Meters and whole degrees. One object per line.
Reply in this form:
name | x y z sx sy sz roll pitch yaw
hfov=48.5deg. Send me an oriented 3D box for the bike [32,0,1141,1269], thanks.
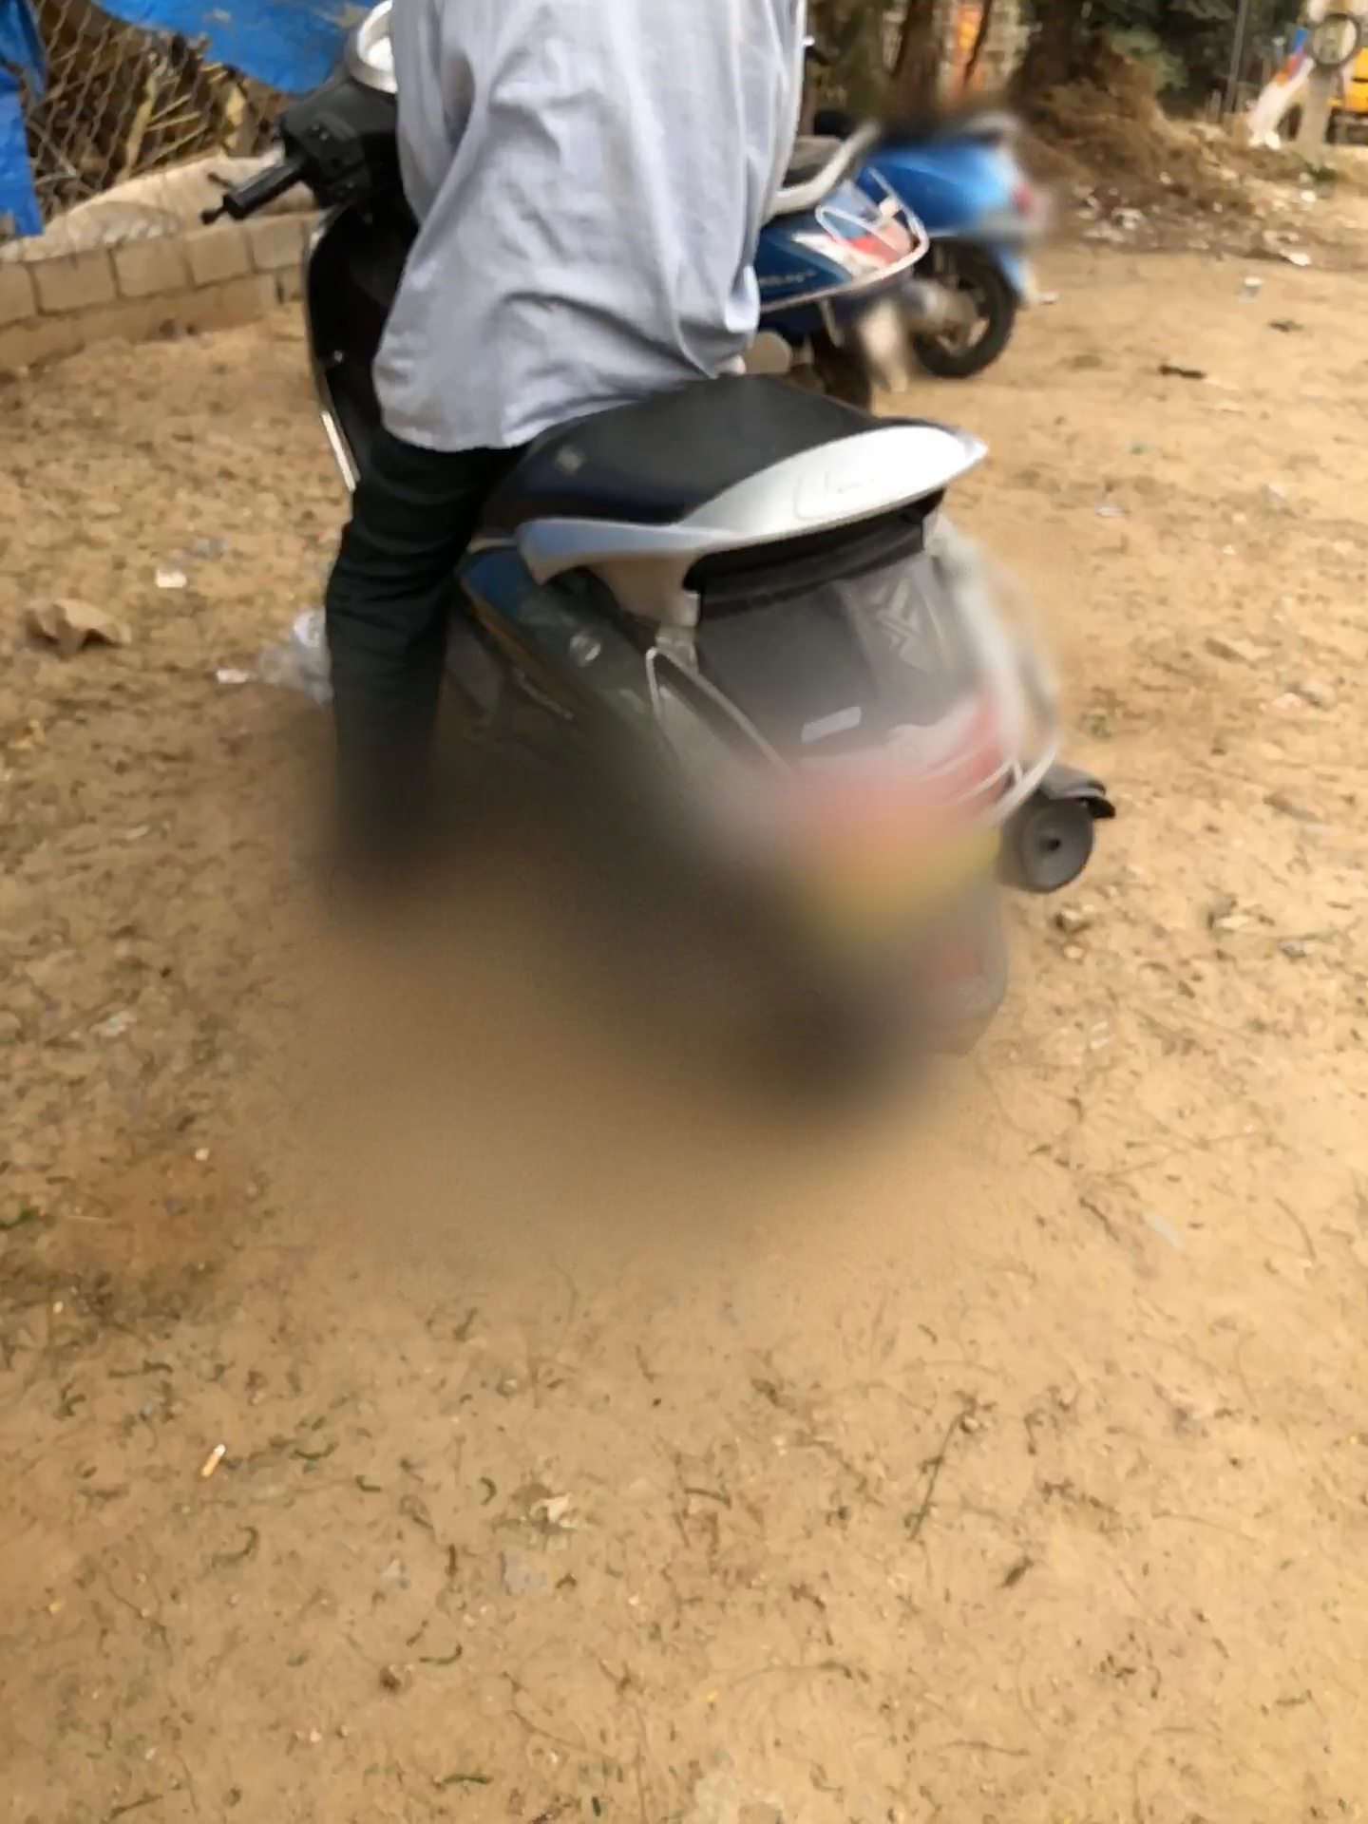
bike | -0.310 -0.612 1.985 0.624 1.054 1.727 -13 36 -22
